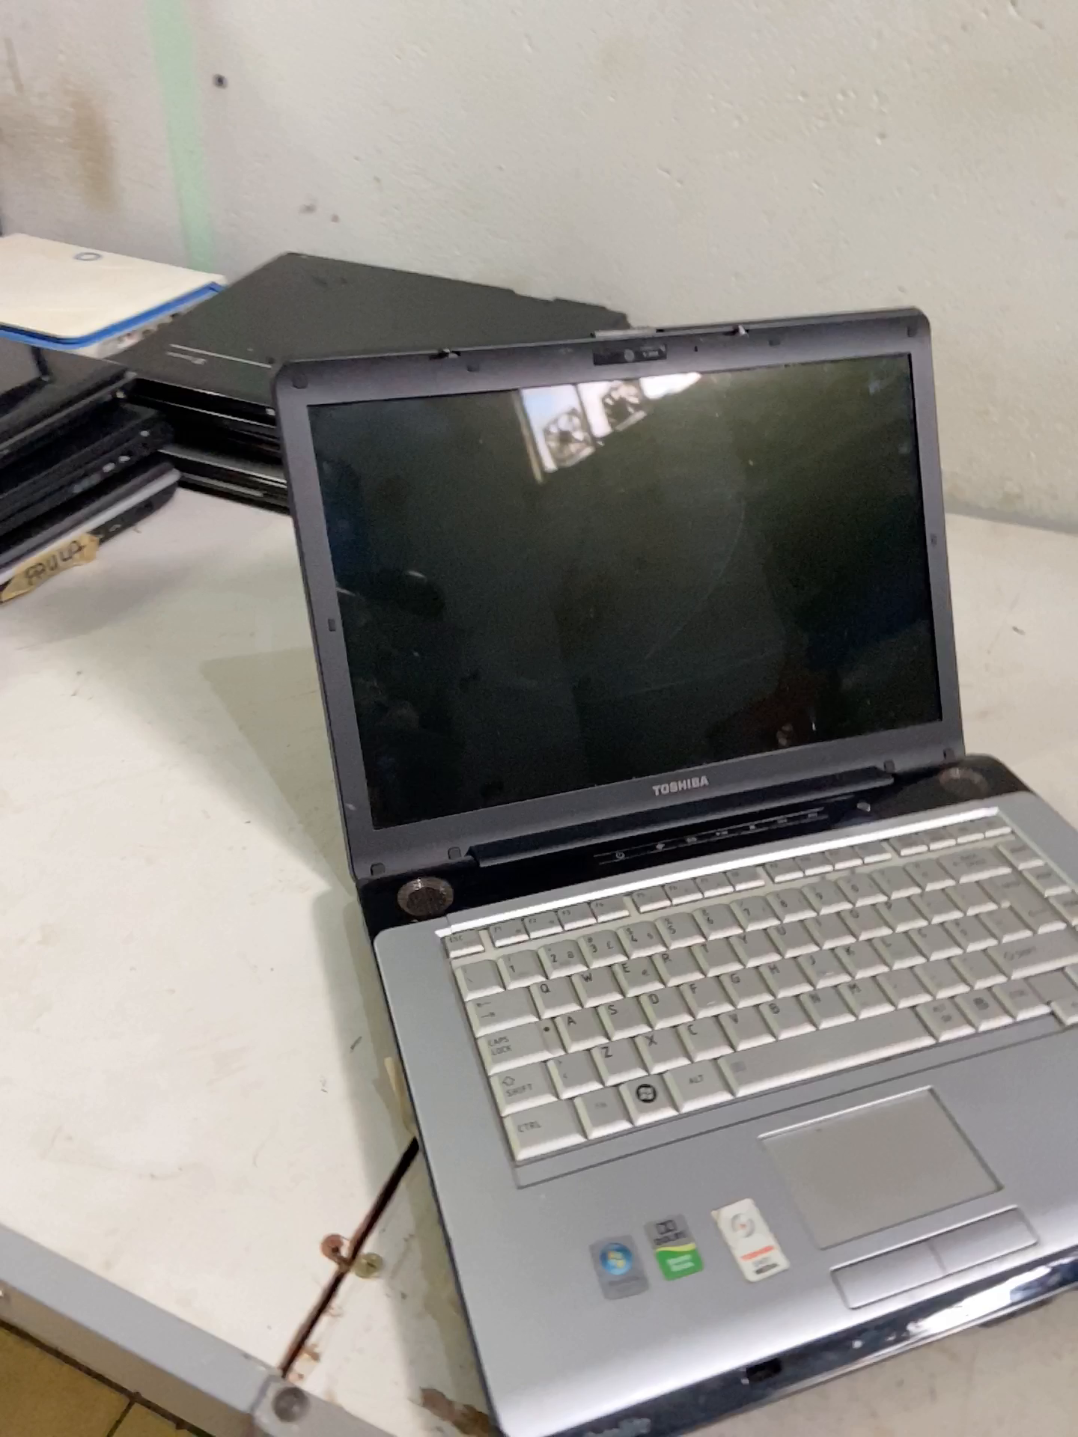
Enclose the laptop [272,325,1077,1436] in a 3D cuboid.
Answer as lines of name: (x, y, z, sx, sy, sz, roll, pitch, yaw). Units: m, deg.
laptop: (0.101, 0.003, 0.468, 0.351, 0.200, 0.395, -10, 37, -16)
